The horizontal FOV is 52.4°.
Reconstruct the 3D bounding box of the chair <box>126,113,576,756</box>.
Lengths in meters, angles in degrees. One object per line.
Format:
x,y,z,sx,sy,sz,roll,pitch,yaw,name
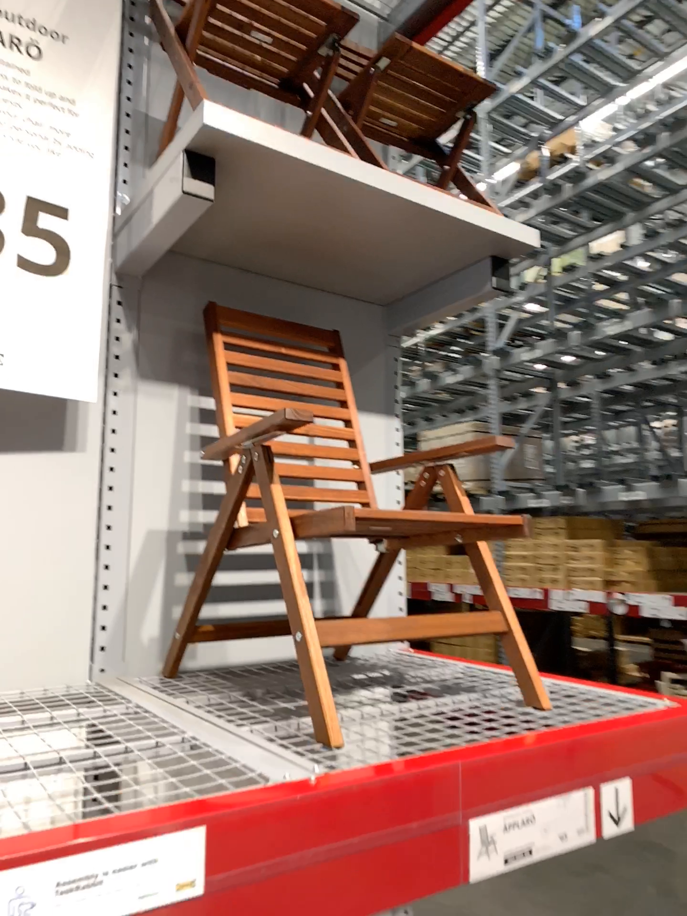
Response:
-0.044,-0.001,1.663,0.614,1.056,0.890,6,-10,-35,chair
